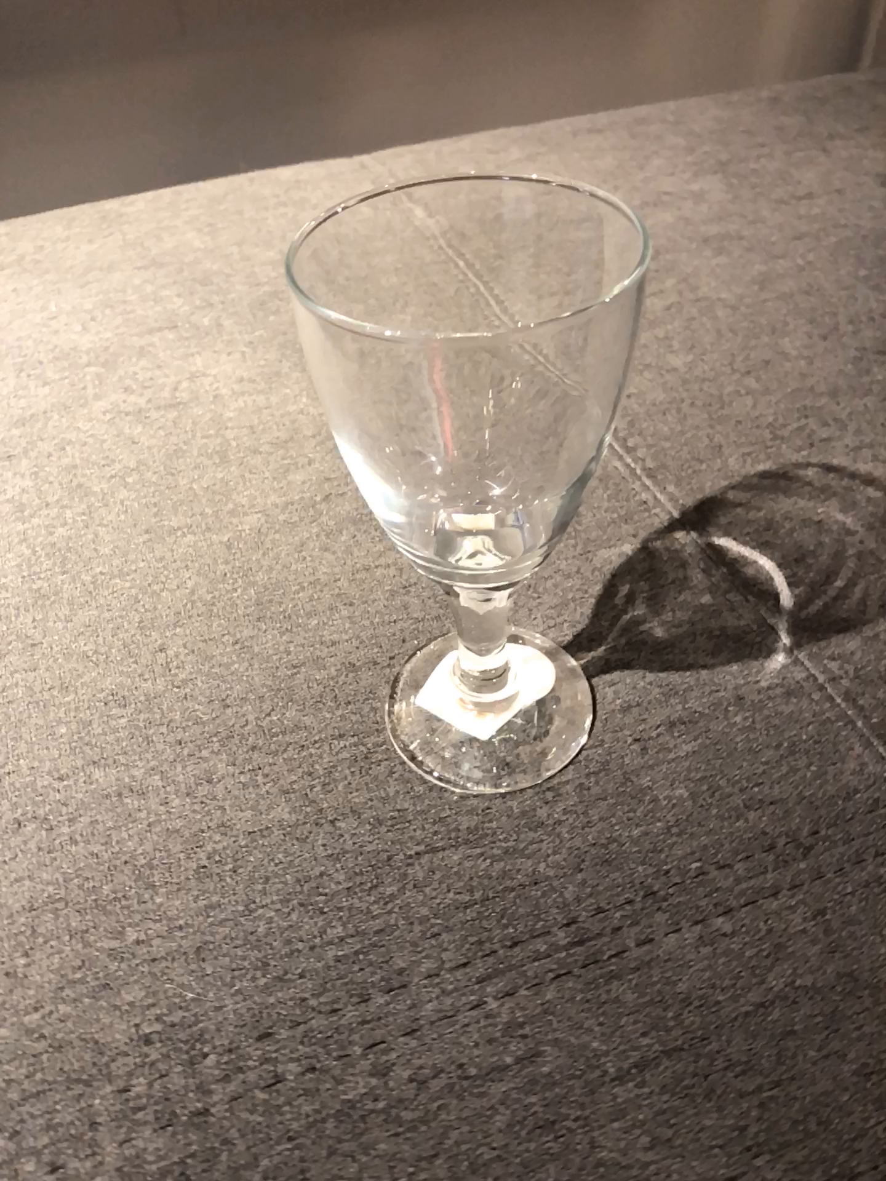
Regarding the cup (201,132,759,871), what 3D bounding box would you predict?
[{"bbox_3d":[0.011,-0.021,0.284,0.090,0.169,0.090,-2,44,2],"label":"cup"}]
